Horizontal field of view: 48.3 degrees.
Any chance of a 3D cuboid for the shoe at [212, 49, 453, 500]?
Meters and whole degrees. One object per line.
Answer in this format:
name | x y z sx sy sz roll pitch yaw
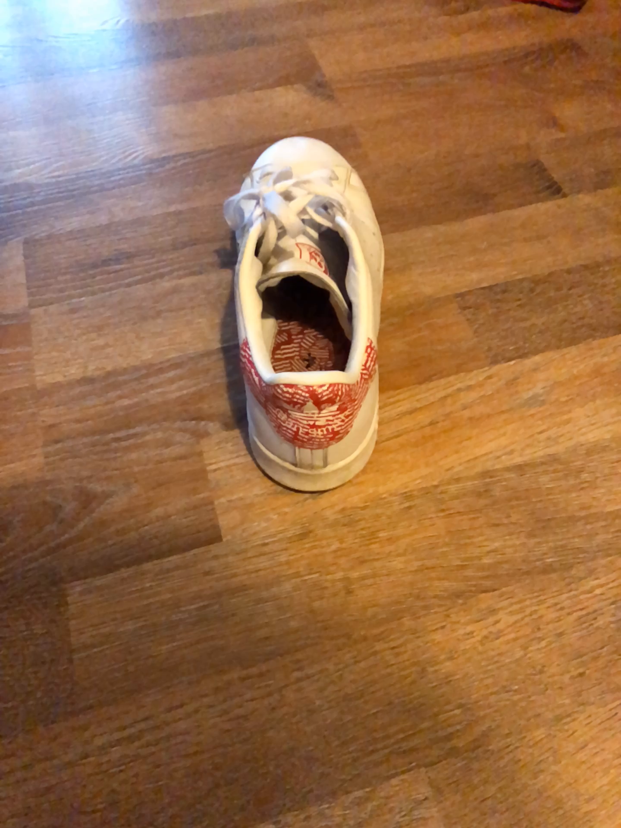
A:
shoe | 0.004 -0.089 0.403 0.100 0.109 0.251 -2 56 -2
